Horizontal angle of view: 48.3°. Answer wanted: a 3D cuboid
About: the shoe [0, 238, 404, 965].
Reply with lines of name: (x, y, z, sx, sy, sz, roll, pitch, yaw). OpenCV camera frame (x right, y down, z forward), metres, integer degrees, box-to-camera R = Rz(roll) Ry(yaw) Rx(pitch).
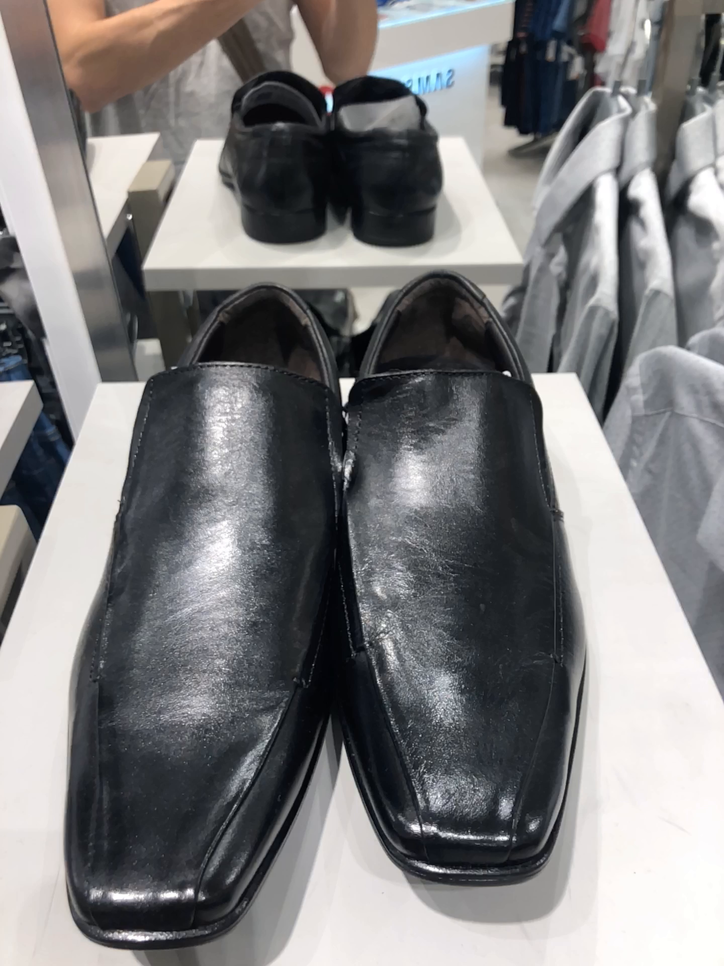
shoe: (-0.044, 0.012, 0.324, 0.110, 0.099, 0.302, -1, 39, 1)

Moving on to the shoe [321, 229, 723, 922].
shoe: (0.048, 0.004, 0.322, 0.110, 0.099, 0.282, -1, 39, 1)
